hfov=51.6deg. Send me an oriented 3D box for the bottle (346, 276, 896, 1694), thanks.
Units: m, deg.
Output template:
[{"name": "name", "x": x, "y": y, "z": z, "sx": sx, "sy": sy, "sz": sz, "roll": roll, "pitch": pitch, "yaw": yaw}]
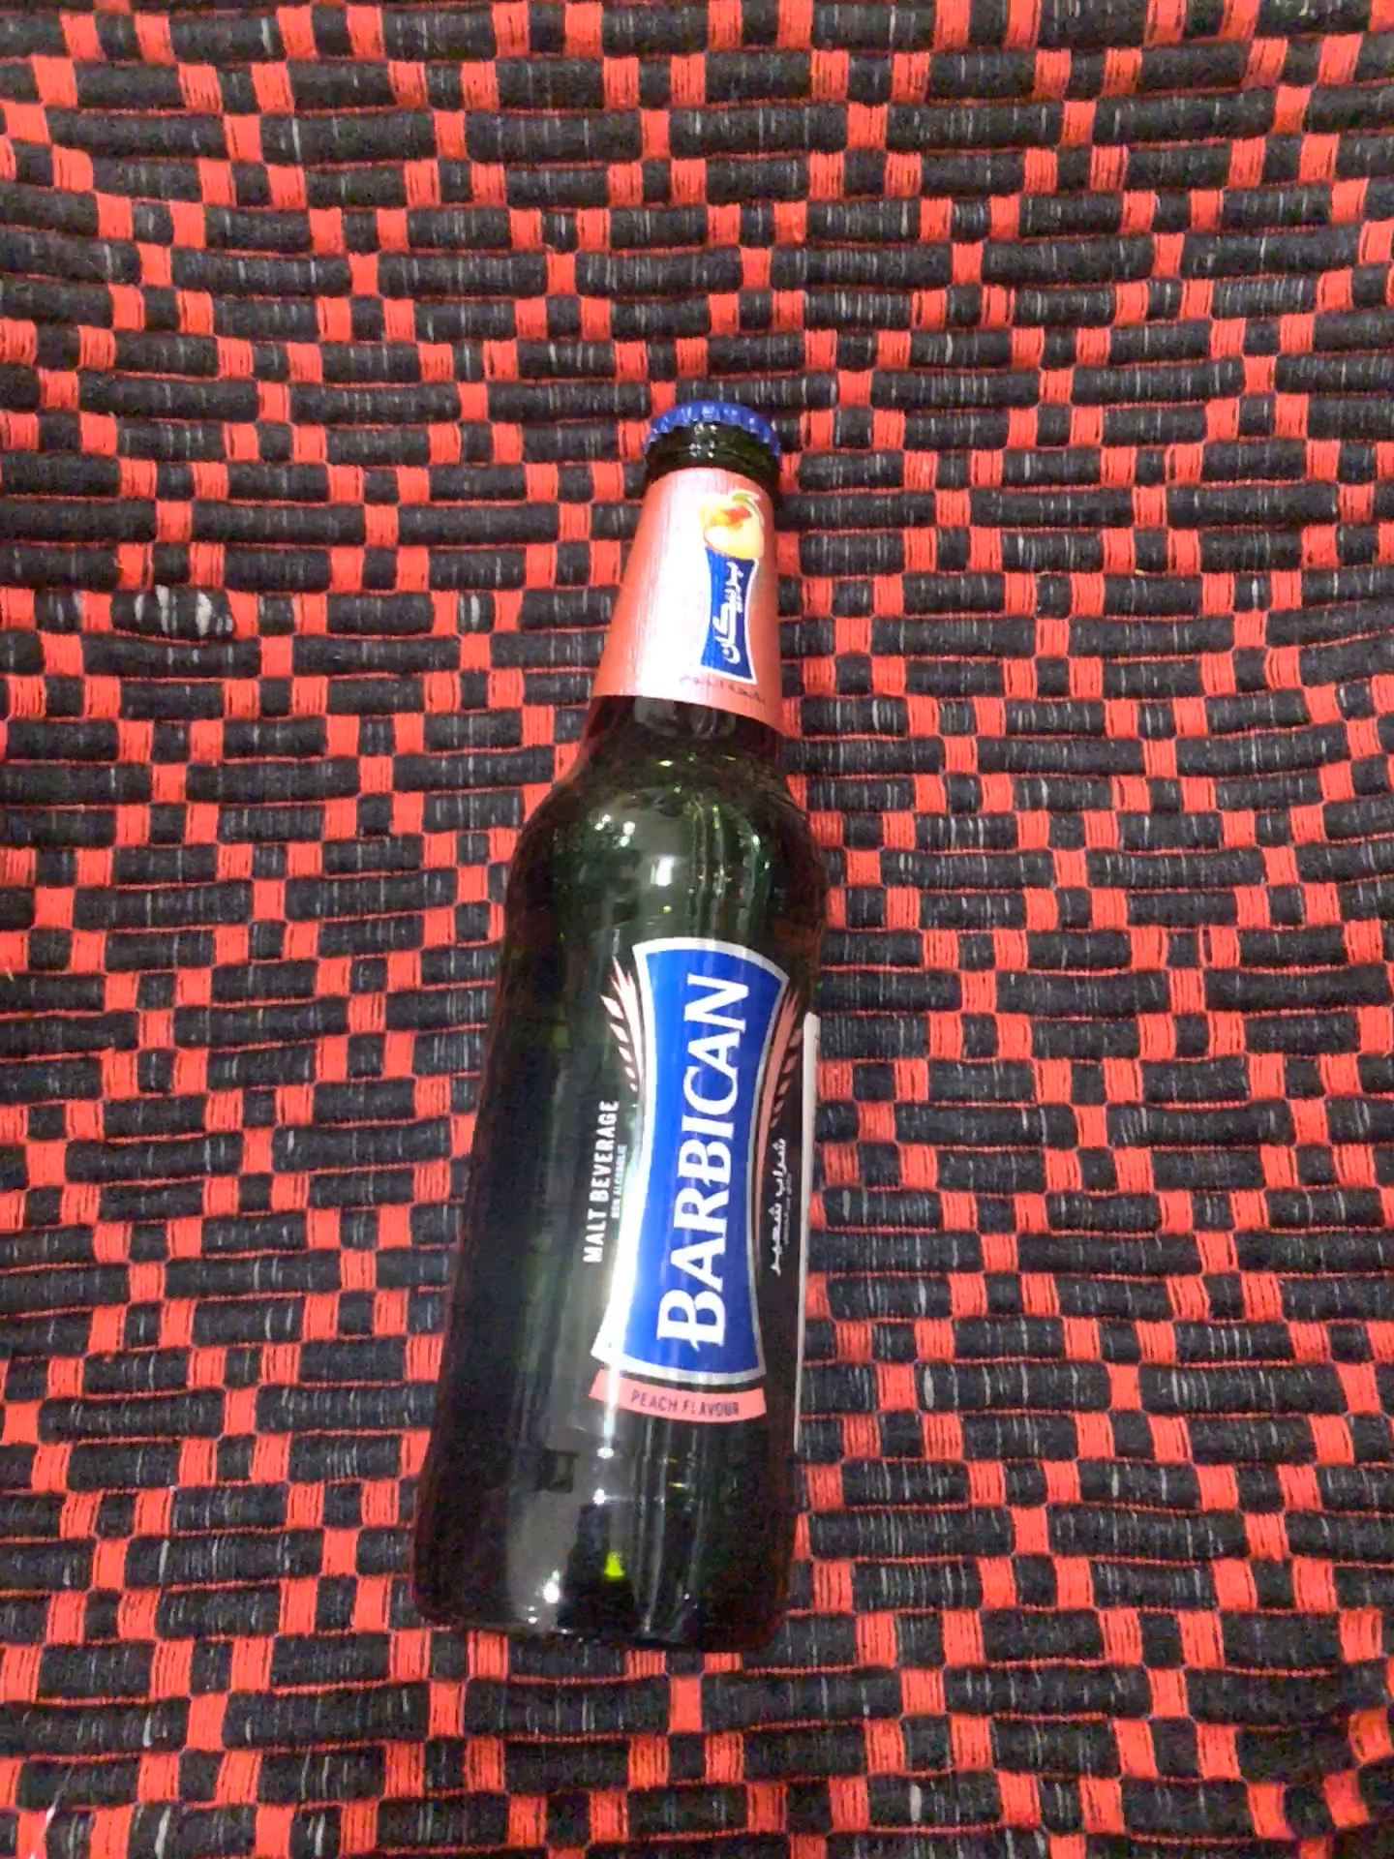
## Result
[{"name": "bottle", "x": -0.005, "y": 0.001, "z": 0.244, "sx": 0.050, "sy": 0.050, "sz": 0.220, "roll": -12, "pitch": 63, "yaw": 38}]
